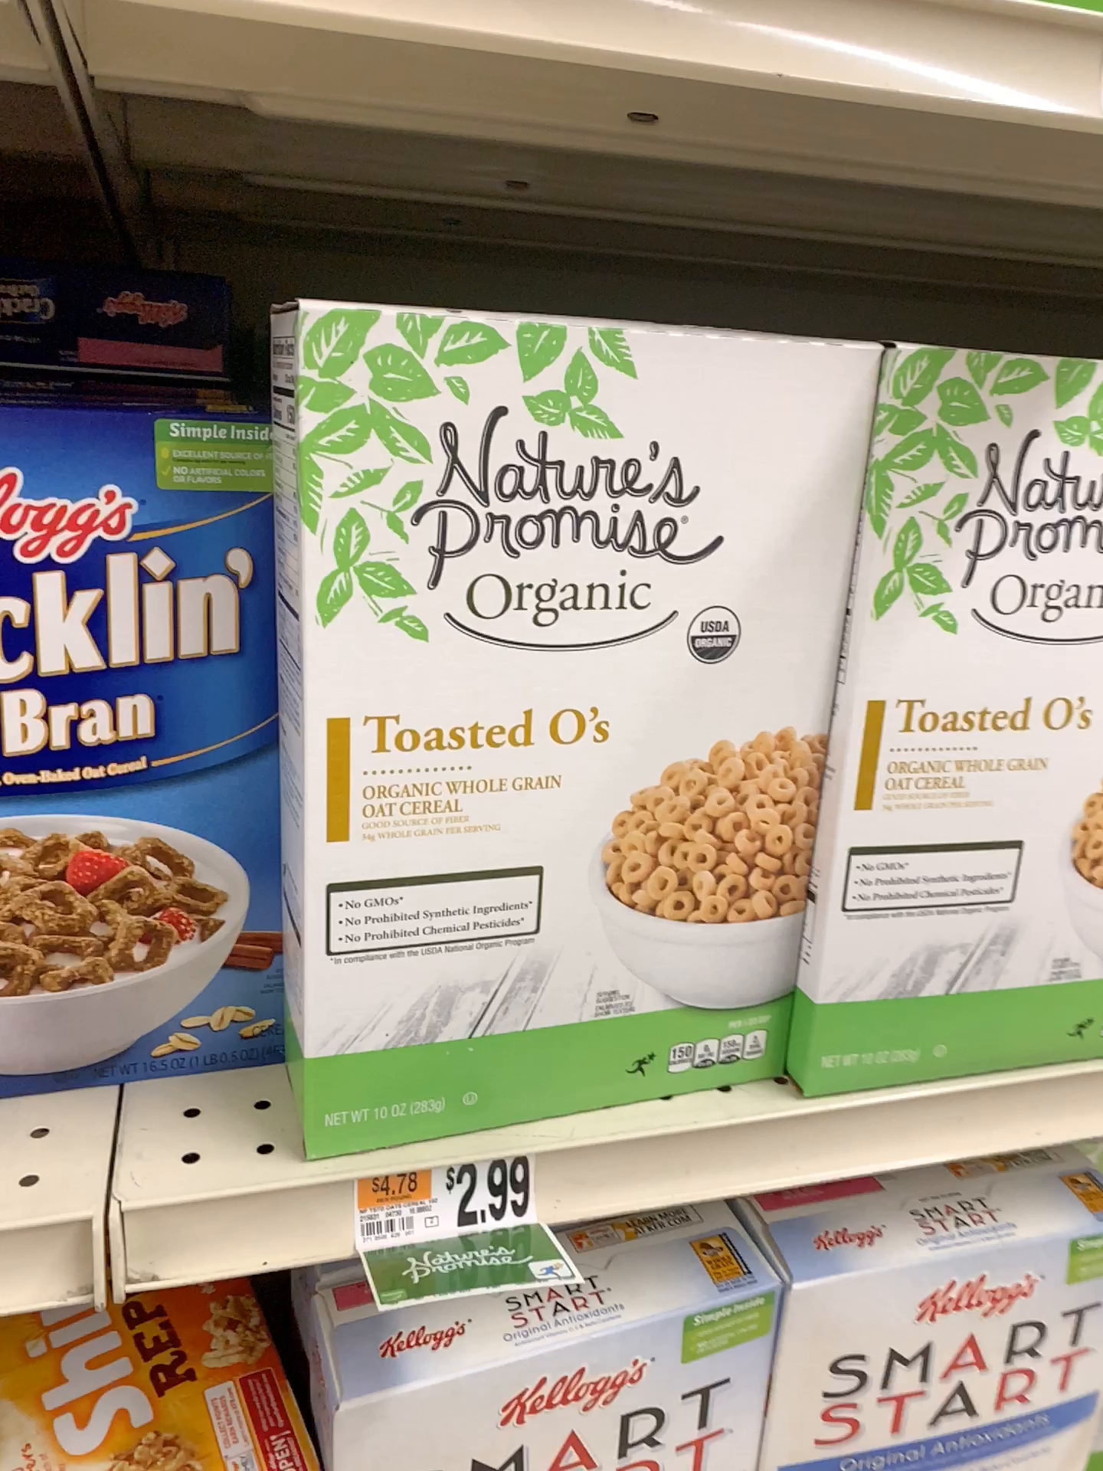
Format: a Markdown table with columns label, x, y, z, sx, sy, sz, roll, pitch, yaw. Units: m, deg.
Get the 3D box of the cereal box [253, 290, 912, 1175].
| label | x | y | z | sx | sy | sz | roll | pitch | yaw |
| --- | --- | --- | --- | --- | --- | --- | --- | --- | --- |
| cereal box | 0.002 | -0.001 | 0.389 | 0.190 | 0.269 | 0.070 | -3 | 19 | -19 |
